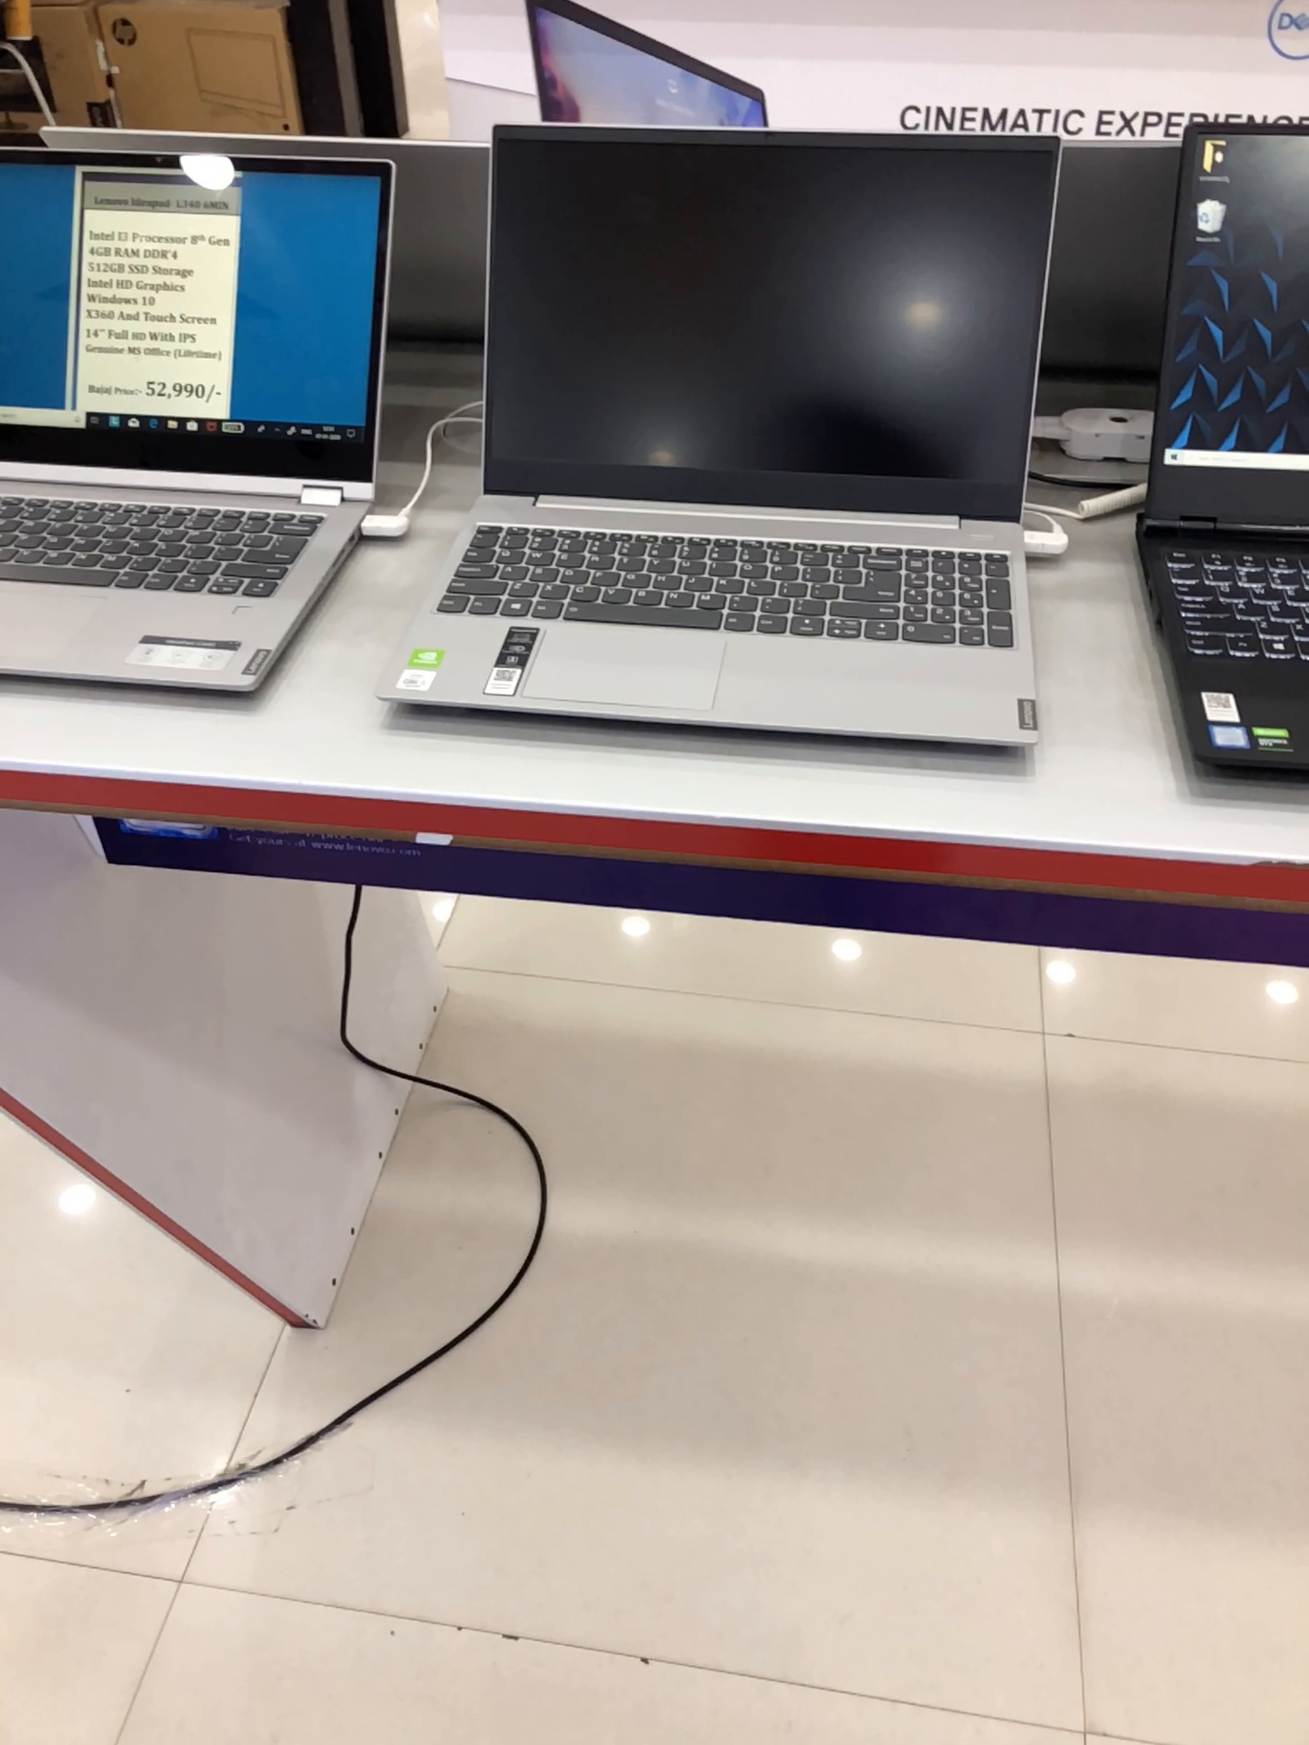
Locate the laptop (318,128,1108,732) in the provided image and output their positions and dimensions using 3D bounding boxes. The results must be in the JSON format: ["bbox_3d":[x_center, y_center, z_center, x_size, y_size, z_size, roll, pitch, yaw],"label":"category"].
[{"bbox_3d":[0.047,-0.268,0.811,0.341,0.196,0.347,4,41,7],"label":"laptop"}]
